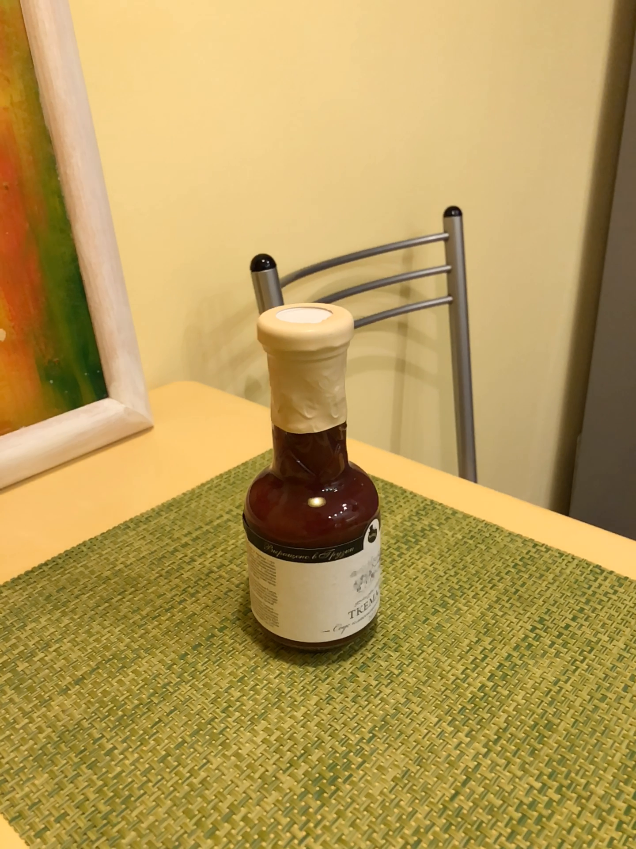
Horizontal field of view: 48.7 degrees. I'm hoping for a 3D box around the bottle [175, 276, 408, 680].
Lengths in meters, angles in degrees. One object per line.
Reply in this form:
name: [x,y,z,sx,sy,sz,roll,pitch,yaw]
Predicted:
bottle: [-0.008,0.021,0.326,0.070,0.159,0.070,-1,24,0]
